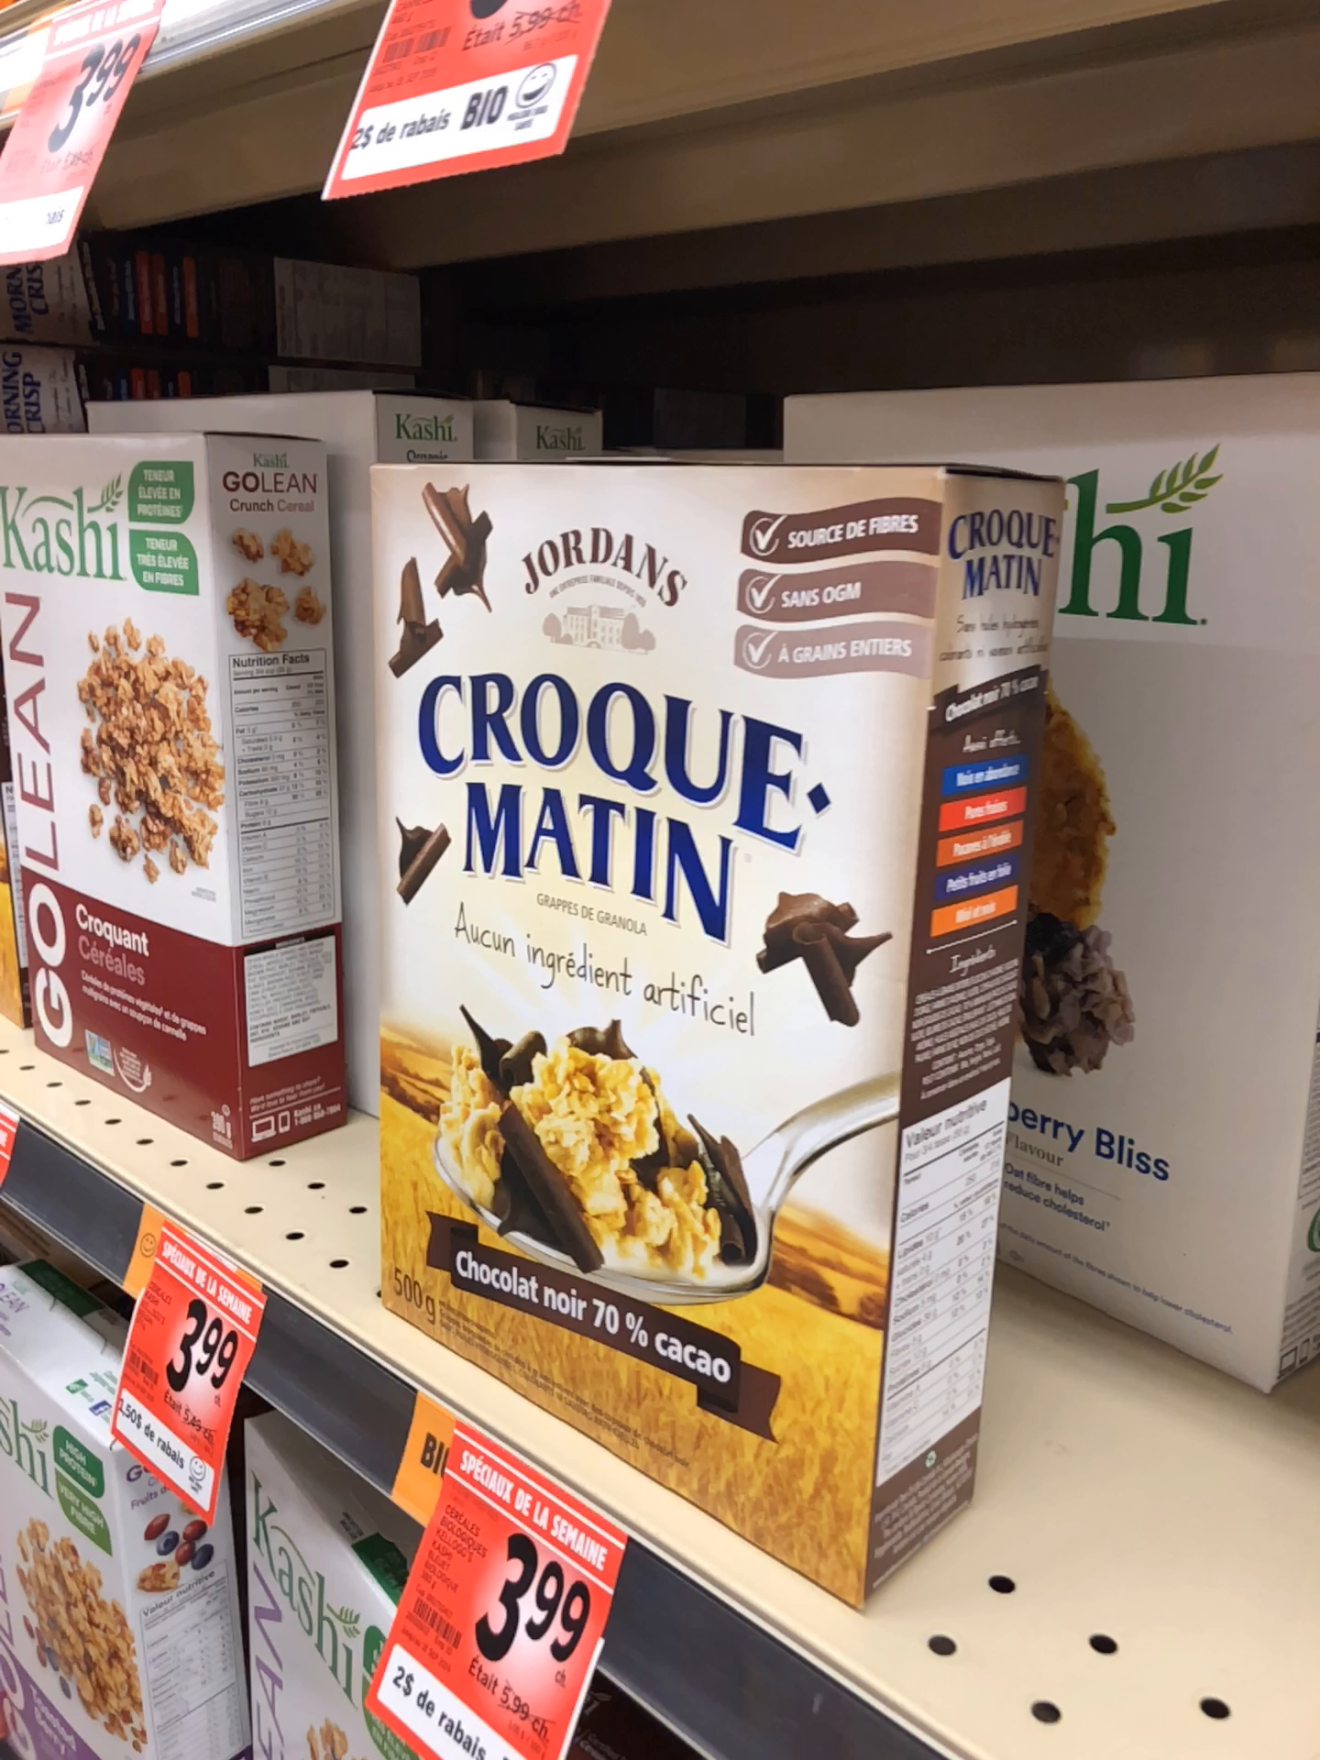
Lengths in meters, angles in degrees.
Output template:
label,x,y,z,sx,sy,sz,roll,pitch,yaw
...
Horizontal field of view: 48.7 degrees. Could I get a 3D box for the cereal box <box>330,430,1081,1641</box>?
label,x,y,z,sx,sy,sz,roll,pitch,yaw
cereal box,-0.006,0.020,0.367,0.190,0.249,0.050,14,17,42
